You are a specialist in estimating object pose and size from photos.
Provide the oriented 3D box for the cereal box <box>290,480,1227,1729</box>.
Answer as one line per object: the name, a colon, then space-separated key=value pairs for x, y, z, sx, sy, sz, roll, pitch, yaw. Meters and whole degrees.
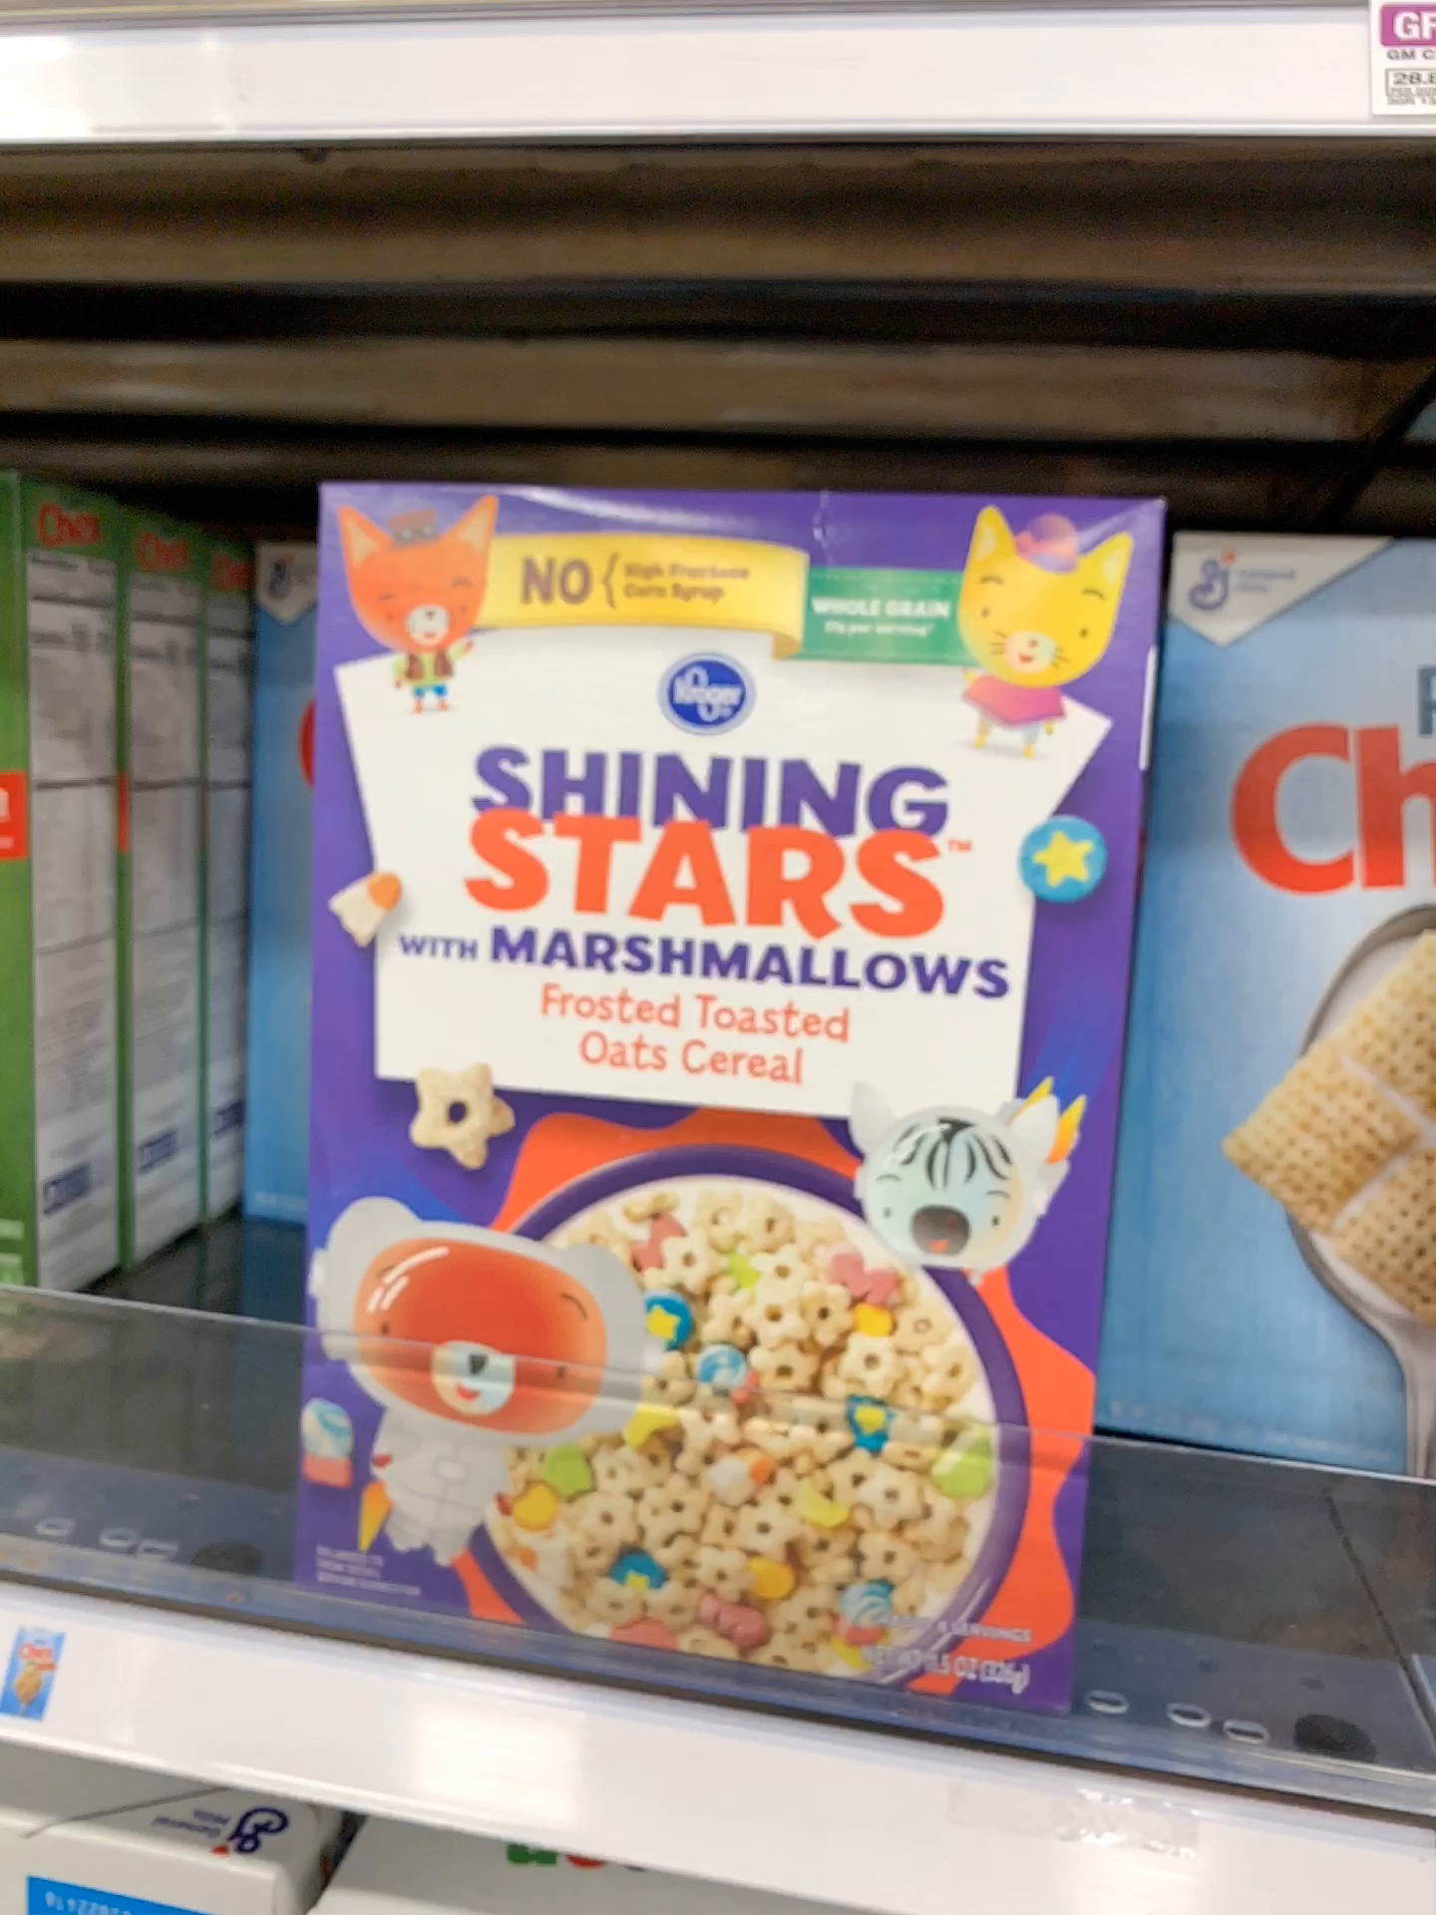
cereal box: x=0.005 y=0.029 z=0.364 sx=0.200 sy=0.270 sz=0.050 roll=3 pitch=5 yaw=9
